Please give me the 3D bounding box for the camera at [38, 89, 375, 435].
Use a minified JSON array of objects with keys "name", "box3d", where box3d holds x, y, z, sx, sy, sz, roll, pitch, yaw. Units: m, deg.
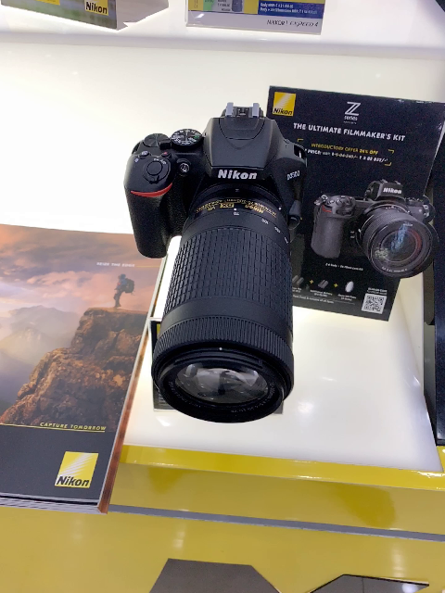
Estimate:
[{"name":"camera","box3d":[-0.004,-0.030,0.262,0.120,0.100,0.181,1,46,1]}]
